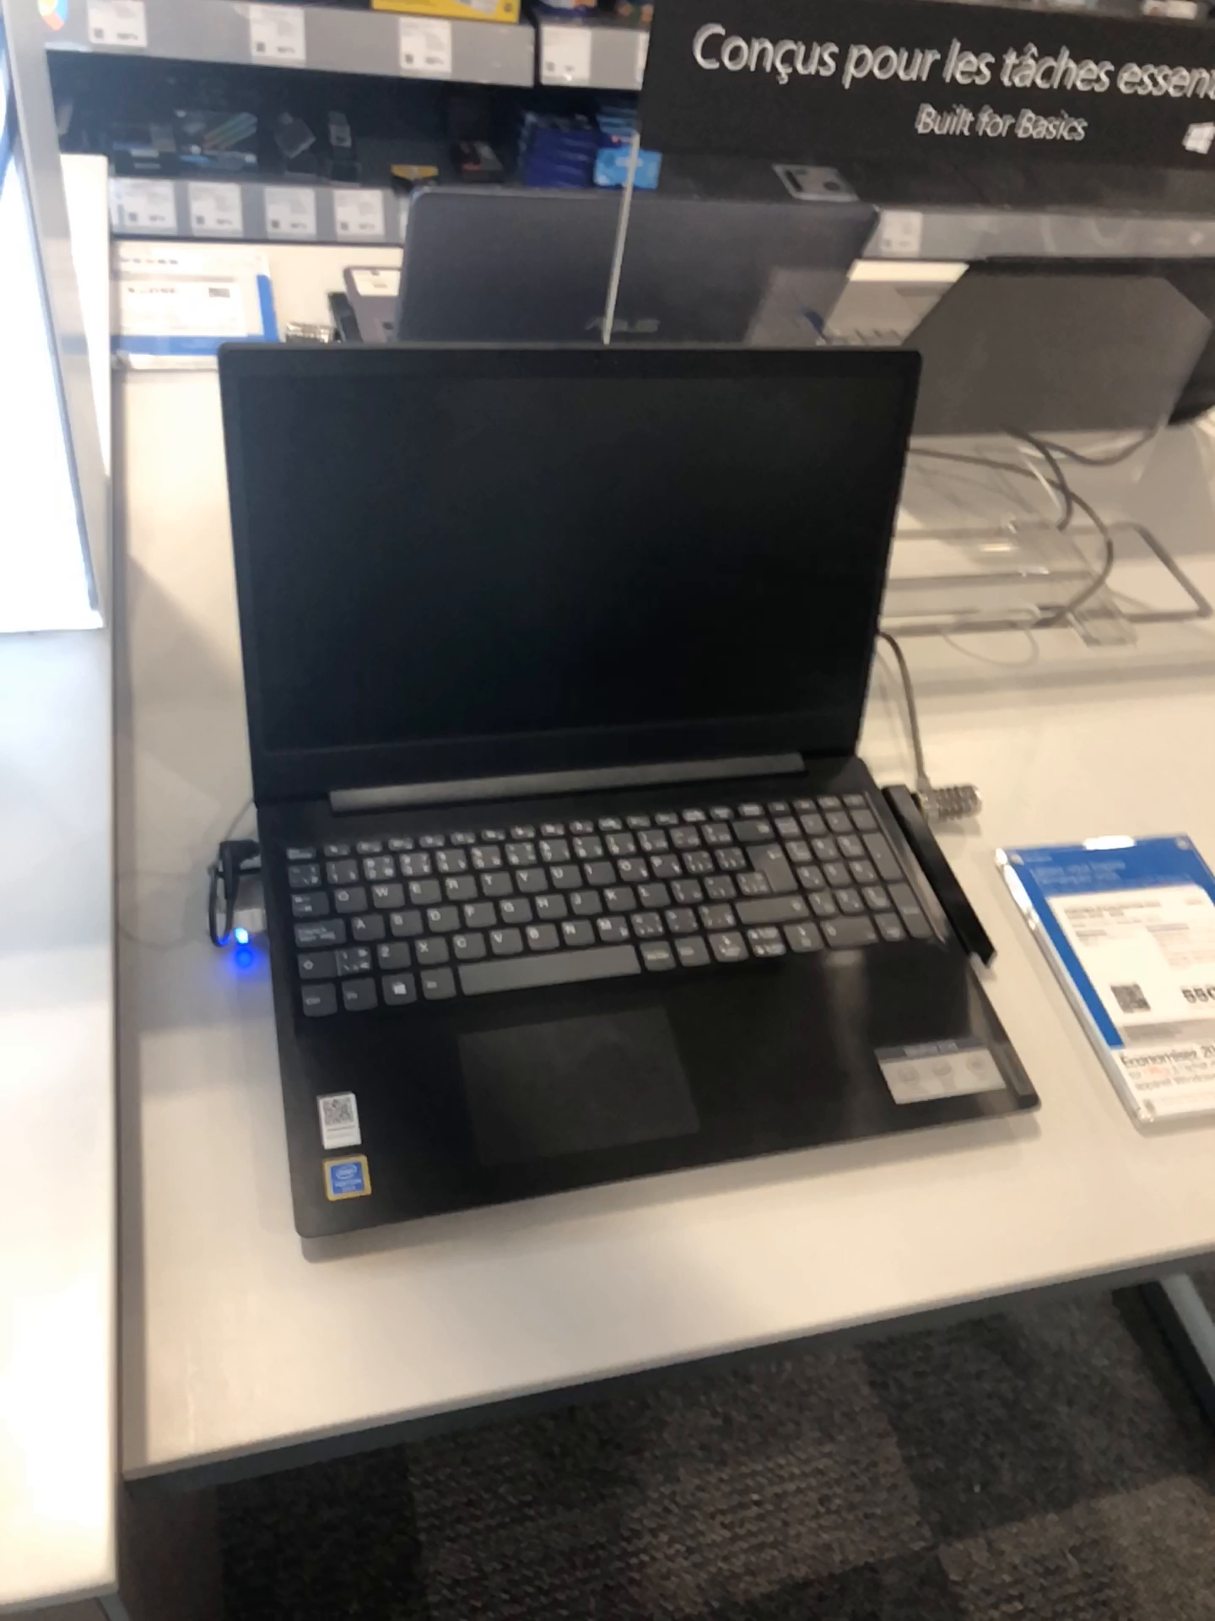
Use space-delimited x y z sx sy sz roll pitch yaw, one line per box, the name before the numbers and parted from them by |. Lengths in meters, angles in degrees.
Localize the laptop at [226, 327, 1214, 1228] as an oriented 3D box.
laptop | 0.016 -0.037 0.628 0.346 0.213 0.323 -5 50 -16
